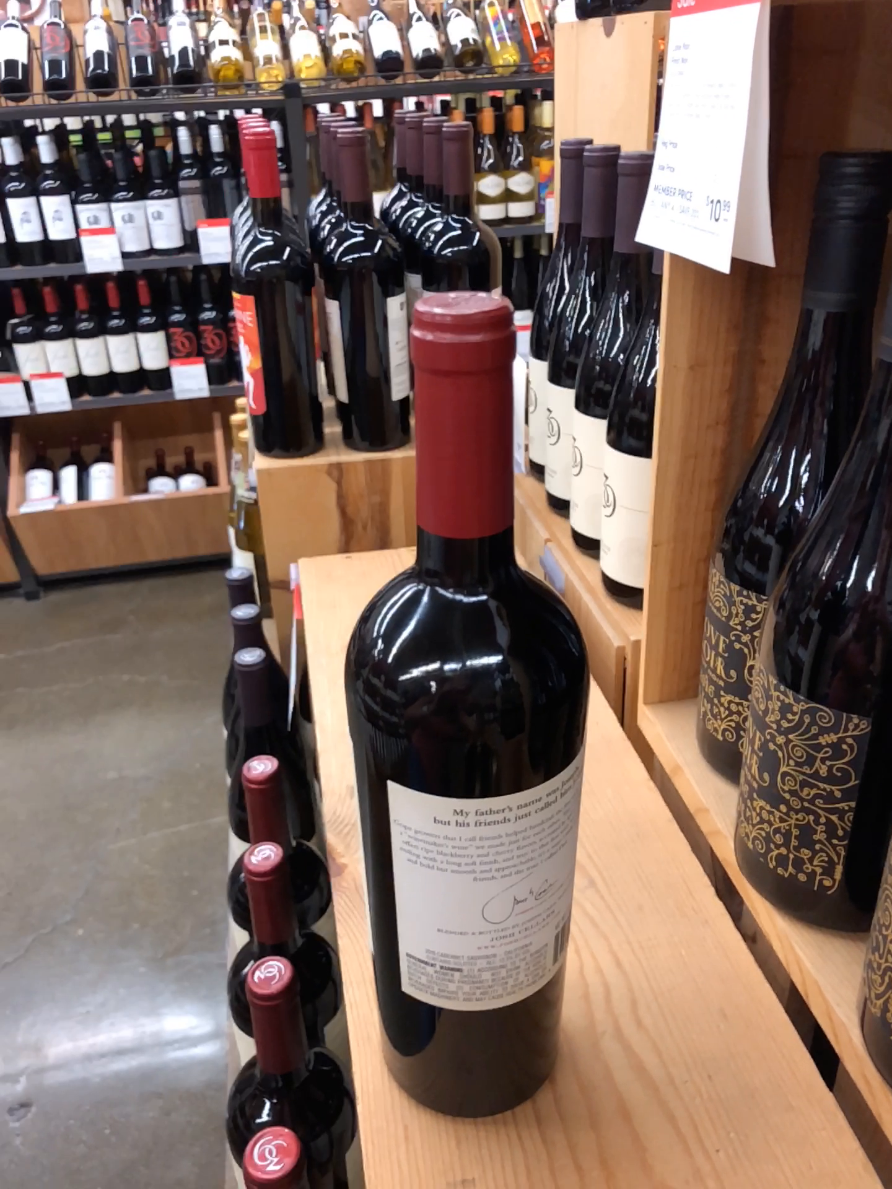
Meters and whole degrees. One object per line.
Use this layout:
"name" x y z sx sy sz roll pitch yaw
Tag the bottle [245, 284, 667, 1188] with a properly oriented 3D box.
"bottle" 0.008 0.057 0.332 0.080 0.293 0.081 -2 27 1
